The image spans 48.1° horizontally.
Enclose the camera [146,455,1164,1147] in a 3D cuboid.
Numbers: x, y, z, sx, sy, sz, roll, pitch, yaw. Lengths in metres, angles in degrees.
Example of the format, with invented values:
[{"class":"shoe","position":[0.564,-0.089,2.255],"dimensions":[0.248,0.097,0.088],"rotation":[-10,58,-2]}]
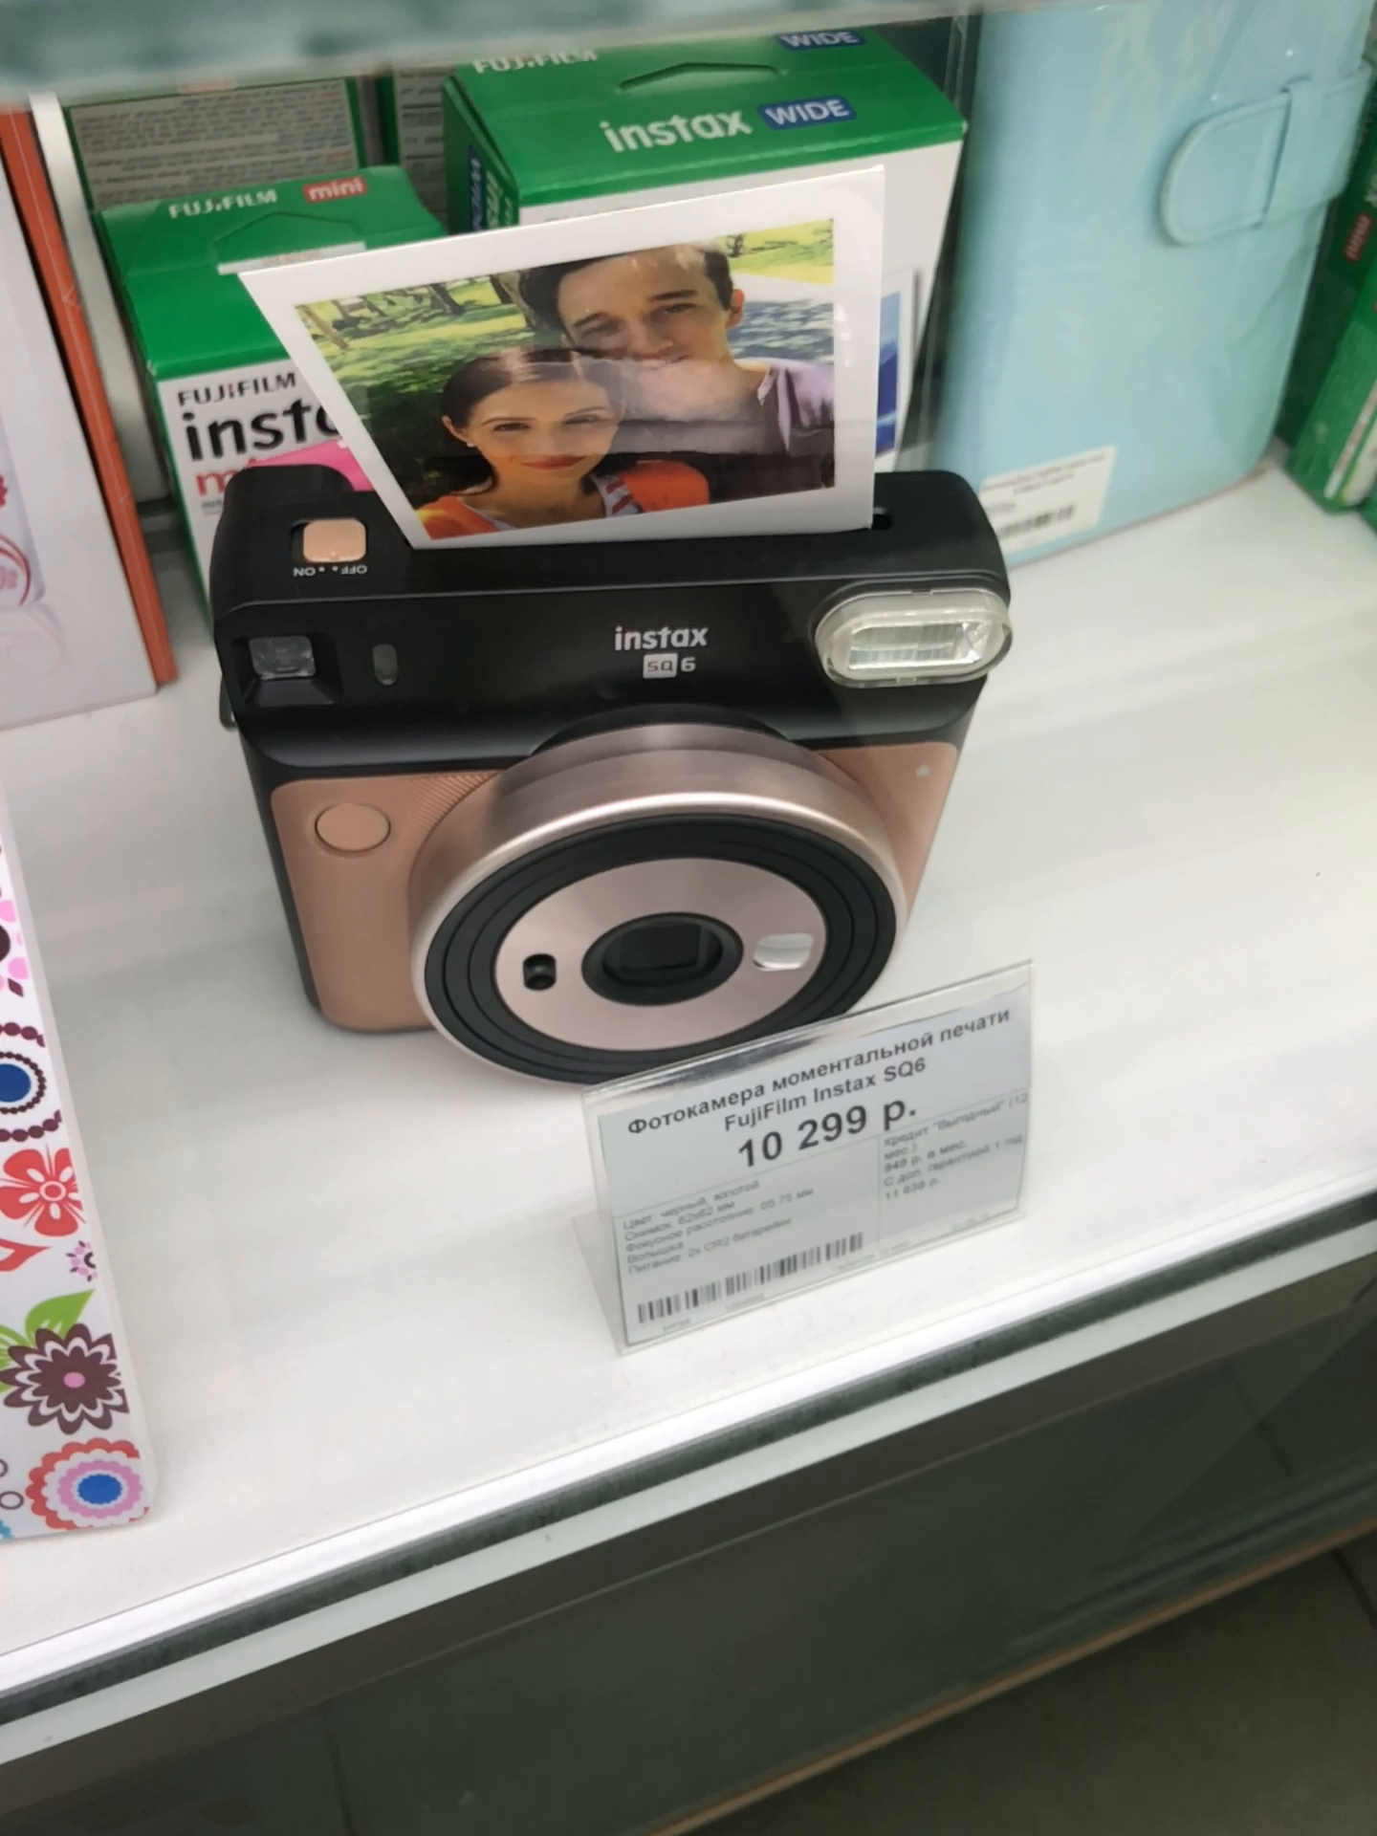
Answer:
[{"class":"camera","position":[-0.009,-0.017,0.269],"dimensions":[0.140,0.104,0.060],"rotation":[-4,55,-8]}]
